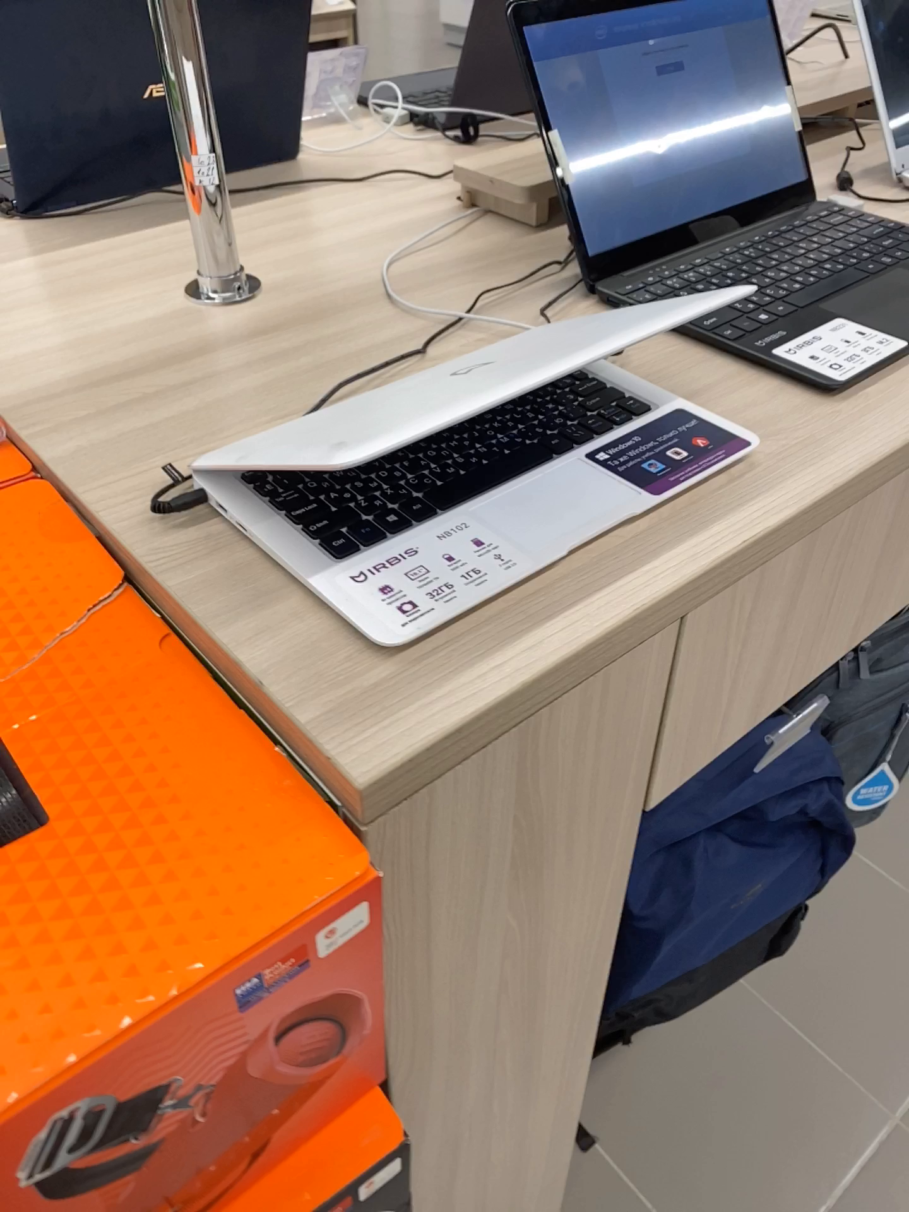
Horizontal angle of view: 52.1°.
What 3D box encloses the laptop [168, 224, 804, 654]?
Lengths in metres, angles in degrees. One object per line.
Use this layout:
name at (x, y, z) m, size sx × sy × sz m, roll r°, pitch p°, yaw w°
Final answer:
laptop at (0.022, -0.113, 0.503) m, size 0.280 × 0.078 × 0.178 m, roll -28°, pitch 49°, yaw -30°
